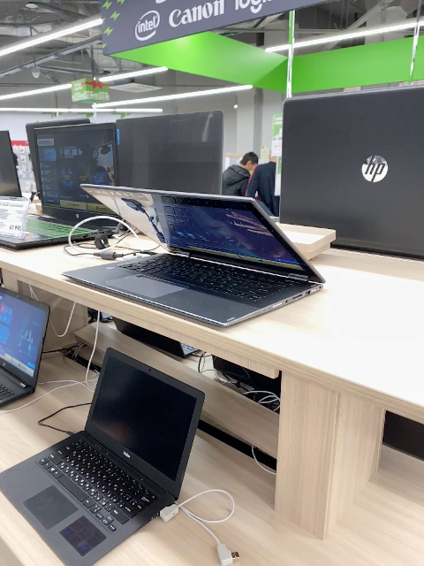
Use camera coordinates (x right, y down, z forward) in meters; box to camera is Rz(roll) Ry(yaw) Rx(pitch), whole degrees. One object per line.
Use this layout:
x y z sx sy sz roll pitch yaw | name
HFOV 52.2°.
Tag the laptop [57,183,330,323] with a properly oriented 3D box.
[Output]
-0.034 -0.069 0.618 0.321 0.128 0.217 13 19 40 | laptop
